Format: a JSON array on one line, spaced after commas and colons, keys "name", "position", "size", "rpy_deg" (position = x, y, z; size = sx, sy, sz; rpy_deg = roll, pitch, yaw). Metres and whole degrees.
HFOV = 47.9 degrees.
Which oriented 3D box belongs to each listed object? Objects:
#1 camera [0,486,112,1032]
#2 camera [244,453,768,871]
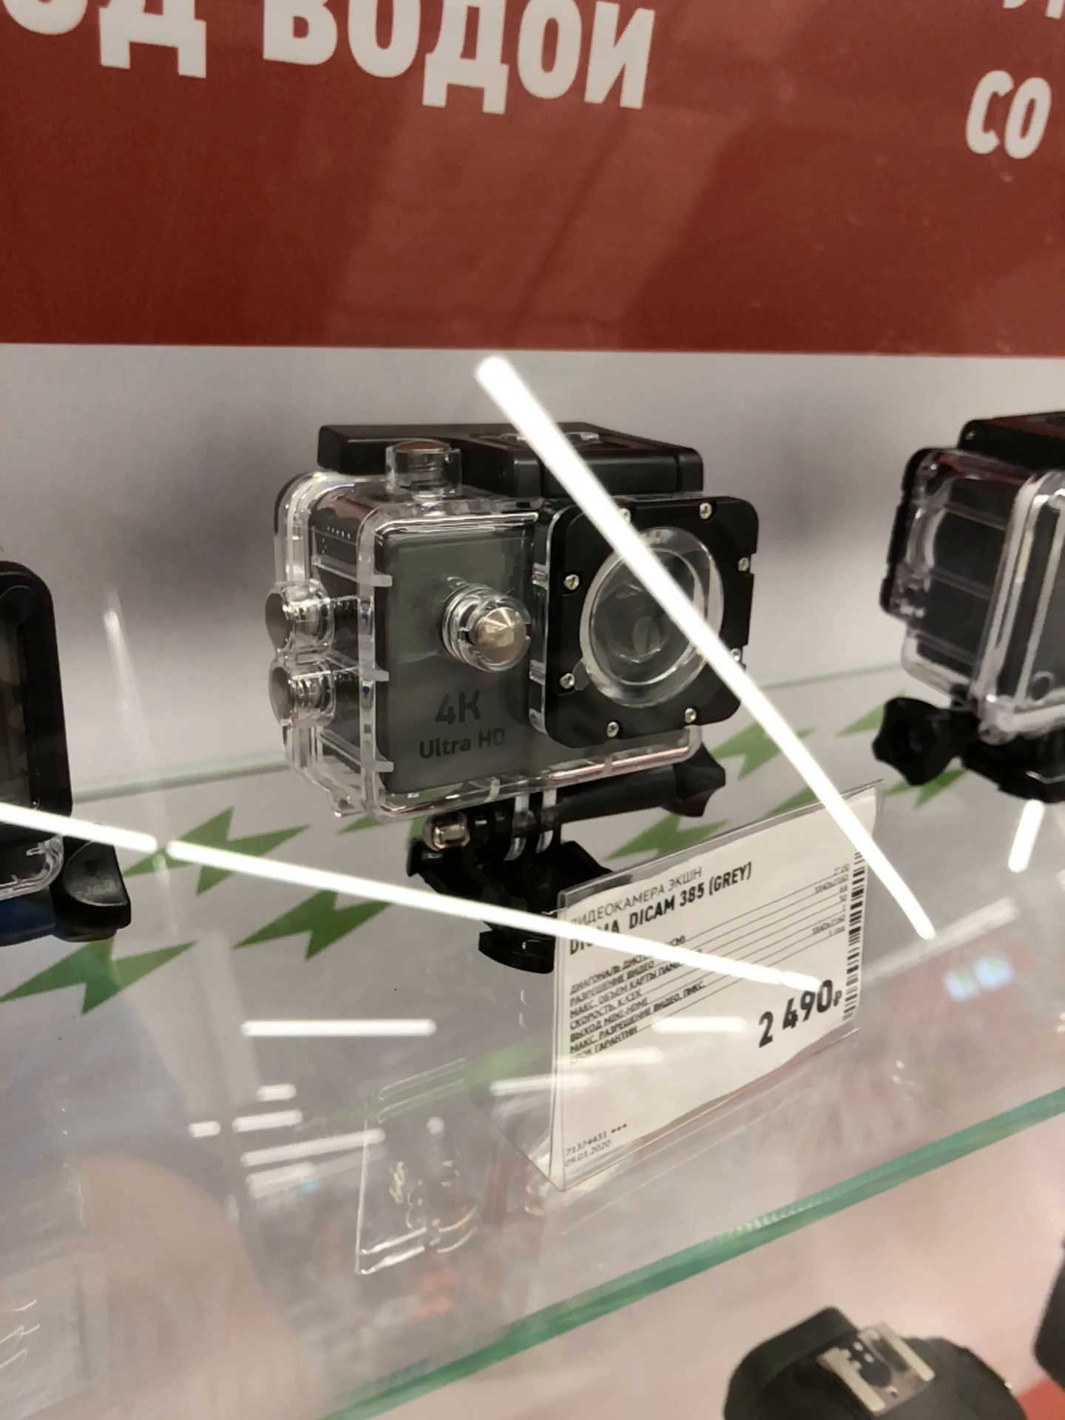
[{"name": "camera", "position": [-0.095, 0.000, 0.146], "size": [0.072, 0.046, 0.036], "rpy_deg": [-11, 20, -34]}, {"name": "camera", "position": [-0.006, -0.014, 0.215], "size": [0.077, 0.055, 0.048], "rpy_deg": [-9, 23, -30]}]
